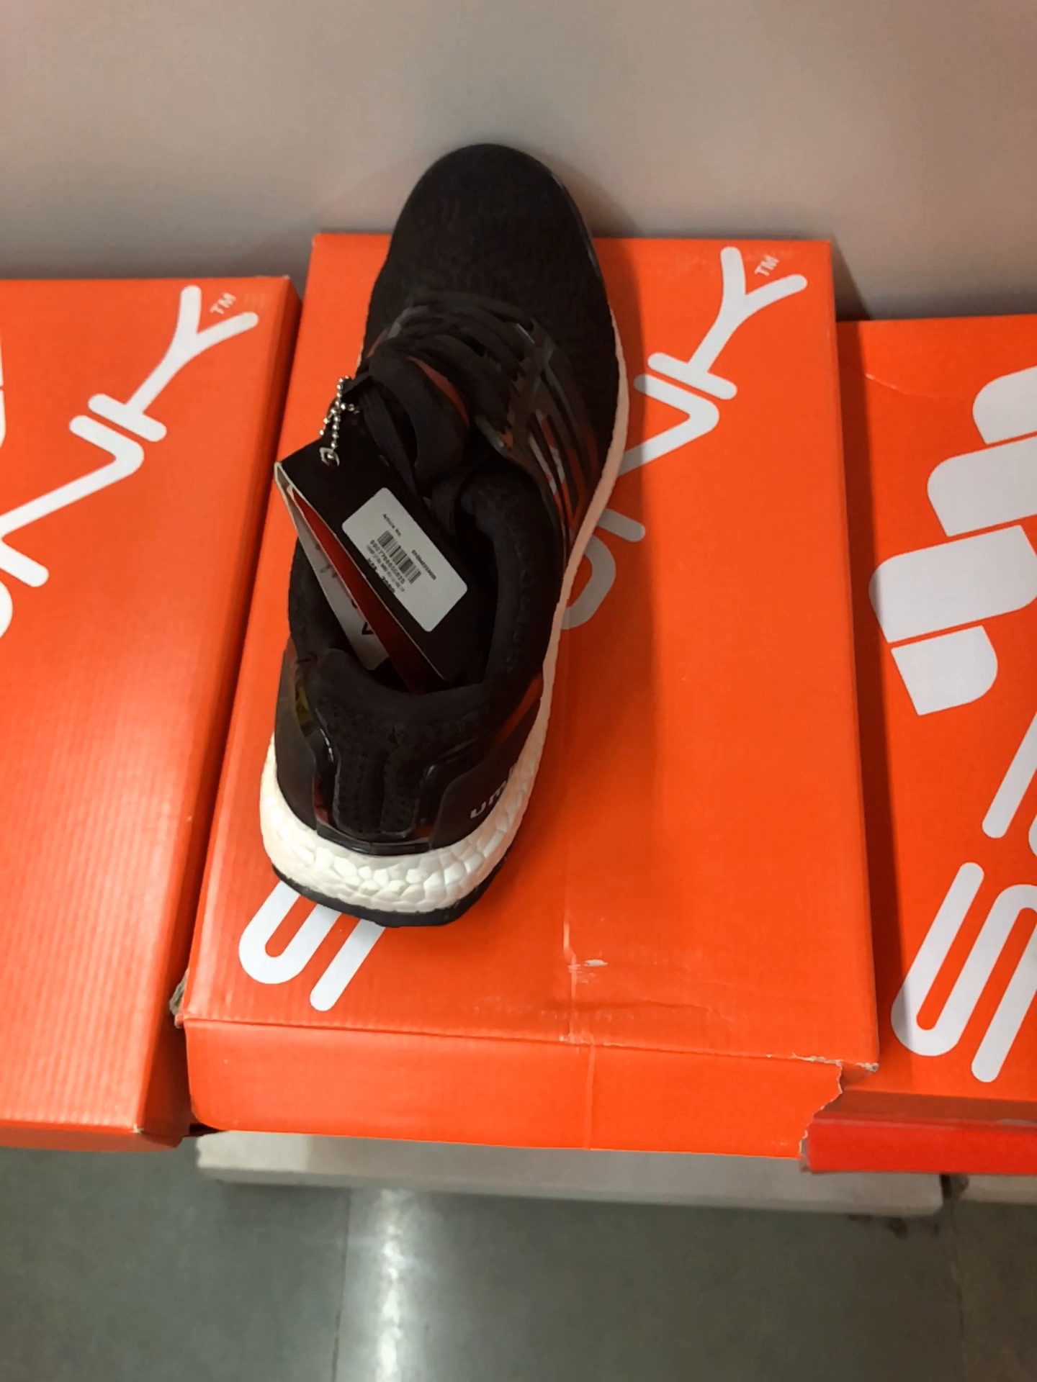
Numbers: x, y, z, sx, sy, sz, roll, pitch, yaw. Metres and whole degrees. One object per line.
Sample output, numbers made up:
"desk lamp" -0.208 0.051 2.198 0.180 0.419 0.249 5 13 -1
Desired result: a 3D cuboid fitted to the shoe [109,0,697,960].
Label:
"shoe" -0.019 -0.073 0.388 0.117 0.120 0.290 8 68 4
